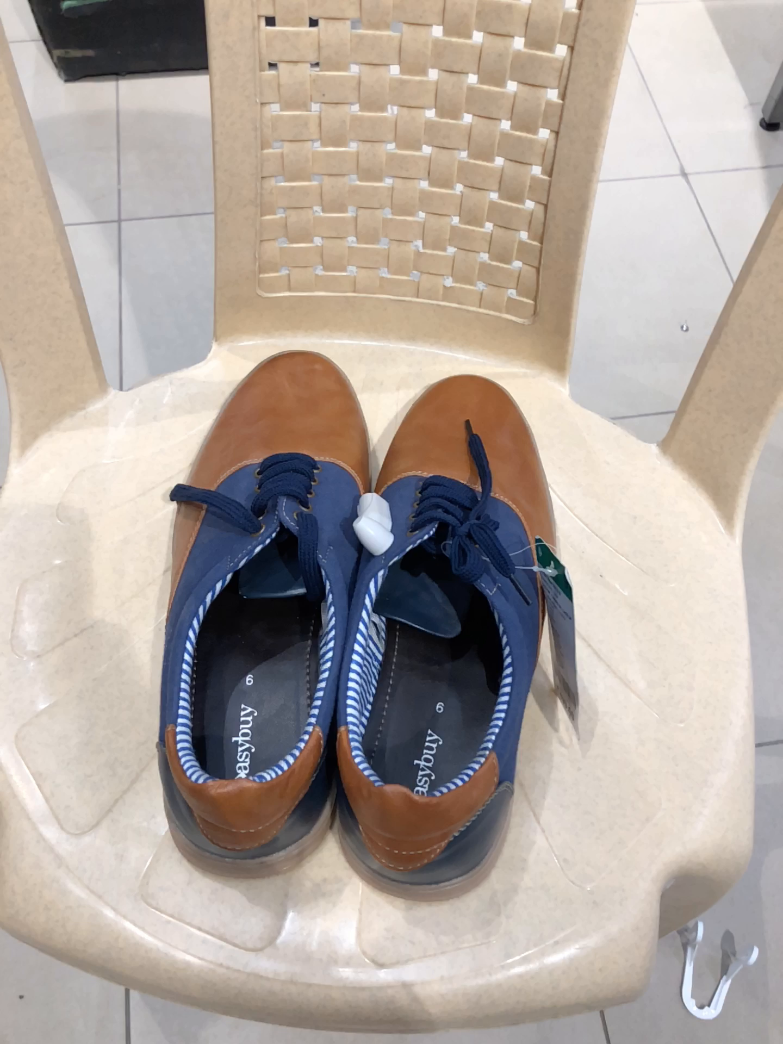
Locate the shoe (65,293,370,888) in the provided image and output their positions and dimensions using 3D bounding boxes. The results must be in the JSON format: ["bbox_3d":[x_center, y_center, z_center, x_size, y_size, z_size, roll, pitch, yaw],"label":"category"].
[{"bbox_3d":[-0.063,0.029,0.406,0.103,0.113,0.254,0,62,-2],"label":"shoe"}]

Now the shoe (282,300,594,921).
[{"bbox_3d":[0.027,0.039,0.403,0.103,0.120,0.252,7,62,2],"label":"shoe"}]
